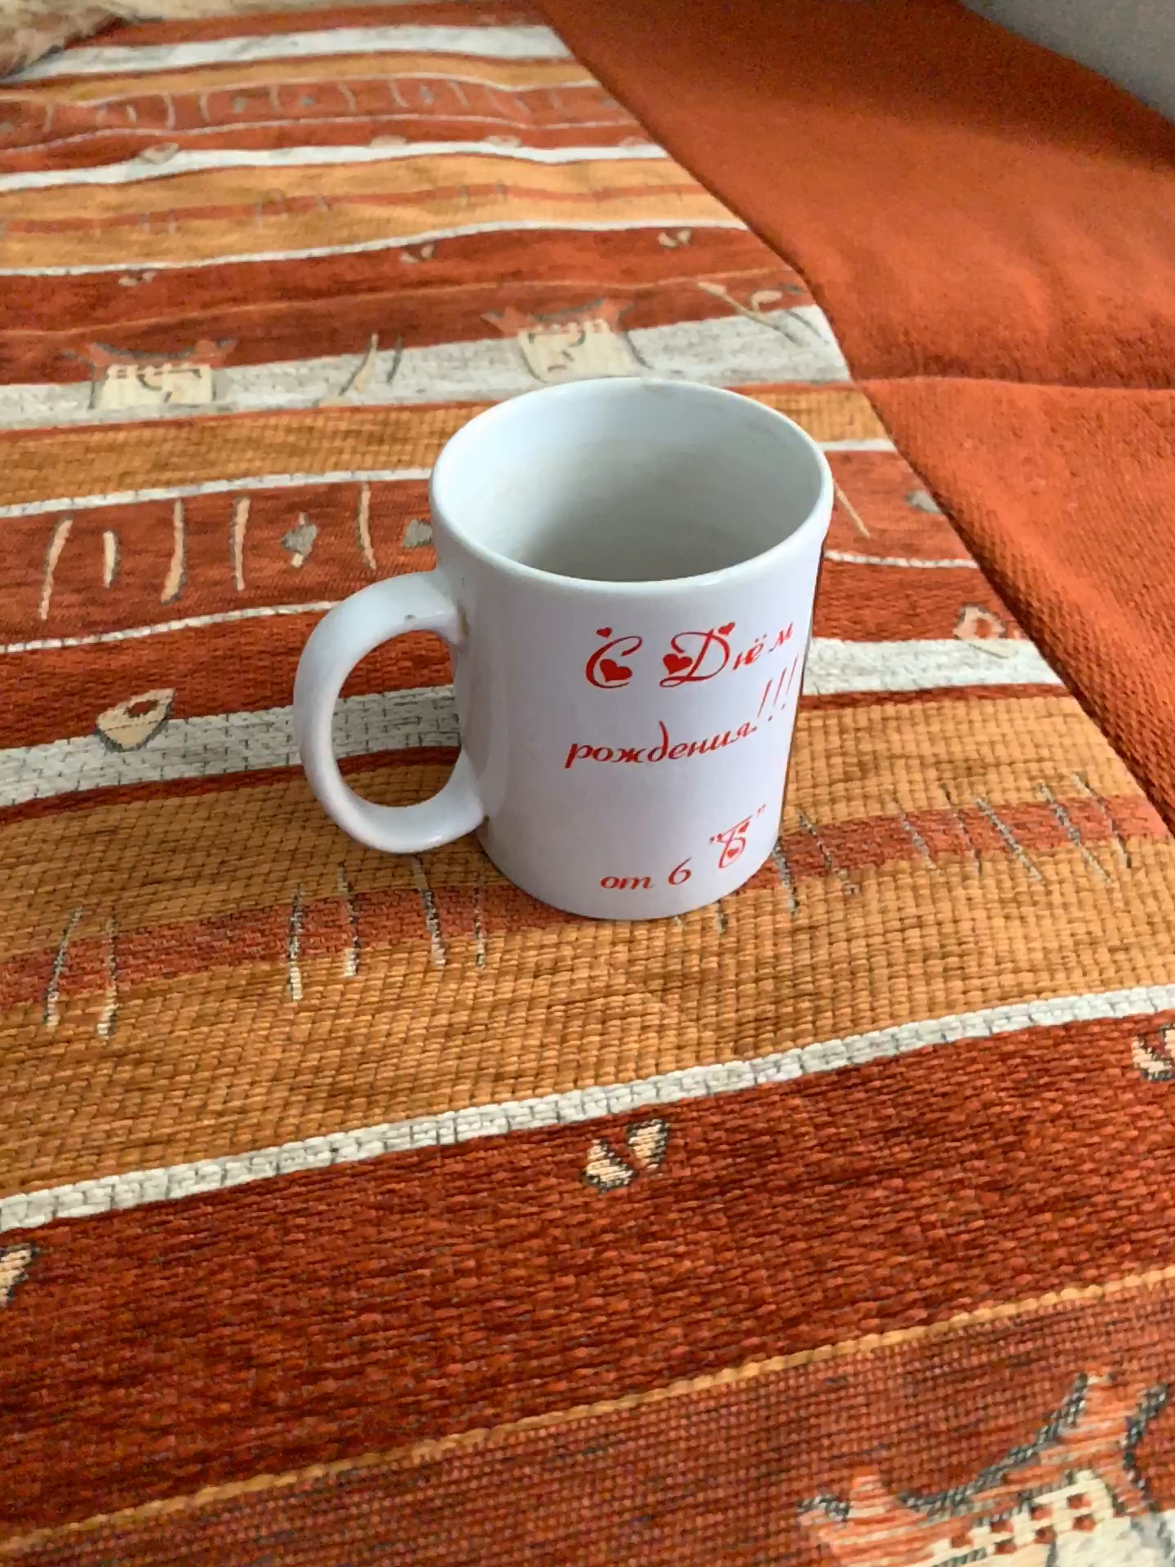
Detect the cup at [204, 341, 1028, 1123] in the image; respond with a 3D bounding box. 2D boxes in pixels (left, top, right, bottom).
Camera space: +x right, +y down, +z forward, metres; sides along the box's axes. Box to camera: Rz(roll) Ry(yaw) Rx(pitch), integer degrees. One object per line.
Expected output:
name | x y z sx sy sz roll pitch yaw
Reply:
cup | 0.002 -0.014 0.229 0.110 0.089 0.081 -18 46 -17
